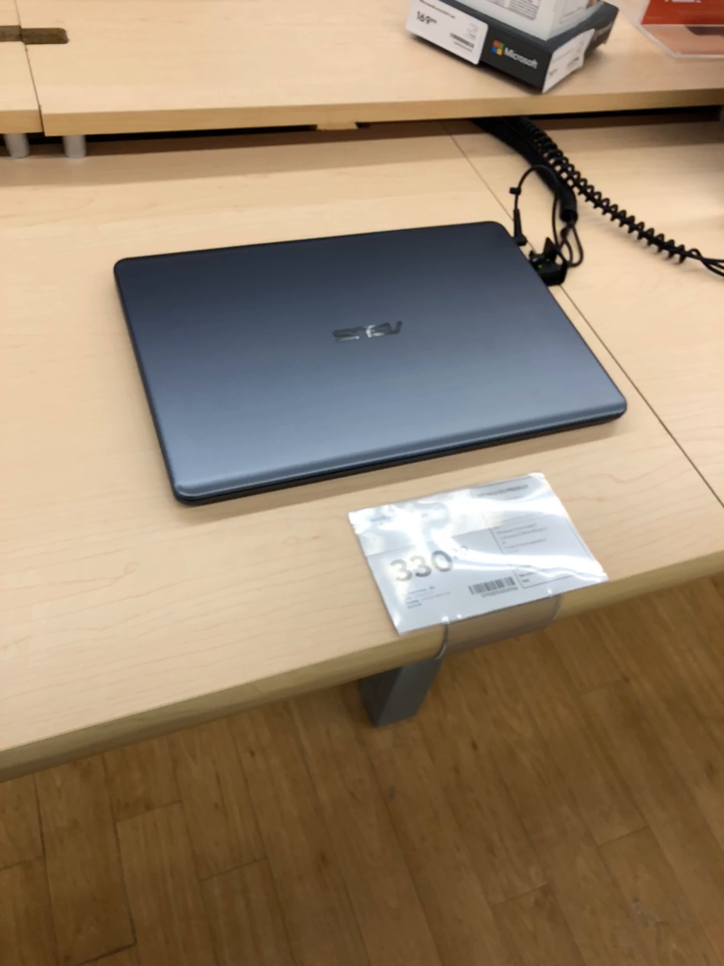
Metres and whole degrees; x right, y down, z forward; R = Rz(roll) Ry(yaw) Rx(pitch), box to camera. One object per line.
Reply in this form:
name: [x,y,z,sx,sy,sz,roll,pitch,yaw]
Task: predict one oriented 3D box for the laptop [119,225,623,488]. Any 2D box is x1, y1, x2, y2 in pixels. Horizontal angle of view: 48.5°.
laptop: [0.005,-0.110,0.588,0.318,0.001,0.210,-12,56,-19]
